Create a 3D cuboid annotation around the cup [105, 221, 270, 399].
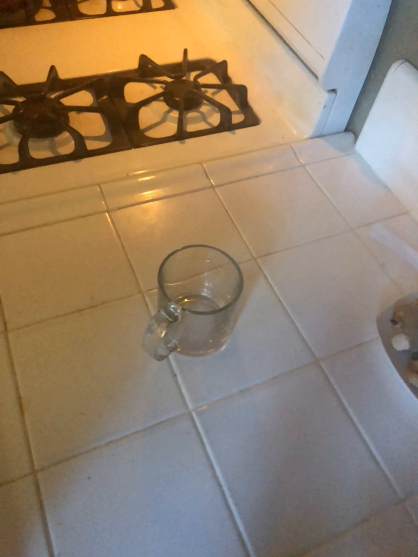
[{"bbox_3d":[-0.021,0.029,0.473,0.100,0.079,0.131,32,57,15],"label":"cup"}]
